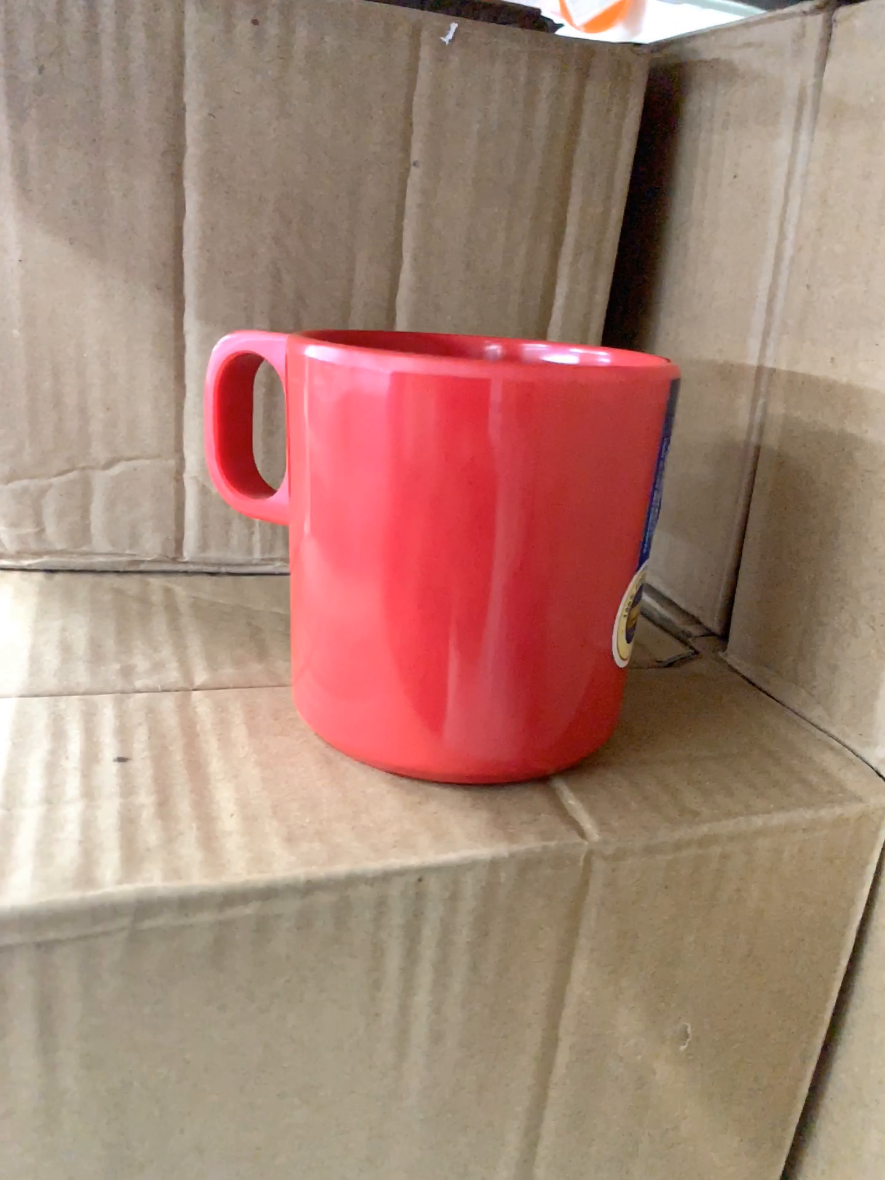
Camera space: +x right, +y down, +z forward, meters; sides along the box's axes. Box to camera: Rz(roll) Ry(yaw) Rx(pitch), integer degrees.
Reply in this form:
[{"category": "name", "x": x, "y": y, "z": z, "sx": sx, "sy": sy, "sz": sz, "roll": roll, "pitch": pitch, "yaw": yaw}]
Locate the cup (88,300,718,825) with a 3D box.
[{"category": "cup", "x": -0.011, "y": -0.017, "z": 0.191, "sx": 0.104, "sy": 0.073, "sz": 0.066, "roll": 17, "pitch": 24, "yaw": 33}]
